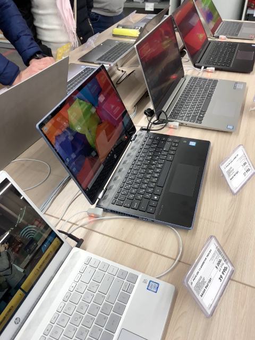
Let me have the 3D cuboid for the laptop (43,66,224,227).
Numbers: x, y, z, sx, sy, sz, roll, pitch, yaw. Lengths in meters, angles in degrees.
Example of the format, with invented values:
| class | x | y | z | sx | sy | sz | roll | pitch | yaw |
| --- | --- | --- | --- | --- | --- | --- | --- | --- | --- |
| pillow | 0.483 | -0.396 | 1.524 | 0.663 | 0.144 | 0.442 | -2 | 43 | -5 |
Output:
| class | x | y | z | sx | sy | sz | roll | pitch | yaw |
| --- | --- | --- | --- | --- | --- | --- | --- | --- | --- |
| laptop | 0.038 | -0.085 | 0.707 | 0.326 | 0.194 | 0.327 | 12 | 43 | 14 |

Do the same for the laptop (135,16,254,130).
| class | x | y | z | sx | sy | sz | roll | pitch | yaw |
| --- | --- | --- | --- | --- | --- | --- | --- | --- | --- |
| laptop | 0.249 | -0.359 | 0.979 | 0.329 | 0.218 | 0.353 | 15 | 44 | 16 |

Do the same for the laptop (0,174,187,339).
| class | x | y | z | sx | sy | sz | roll | pitch | yaw |
| --- | --- | --- | --- | --- | --- | --- | --- | --- | --- |
| laptop | -0.117 | 0.196 | 0.402 | 0.323 | 0.171 | 0.293 | 14 | 41 | 14 |
